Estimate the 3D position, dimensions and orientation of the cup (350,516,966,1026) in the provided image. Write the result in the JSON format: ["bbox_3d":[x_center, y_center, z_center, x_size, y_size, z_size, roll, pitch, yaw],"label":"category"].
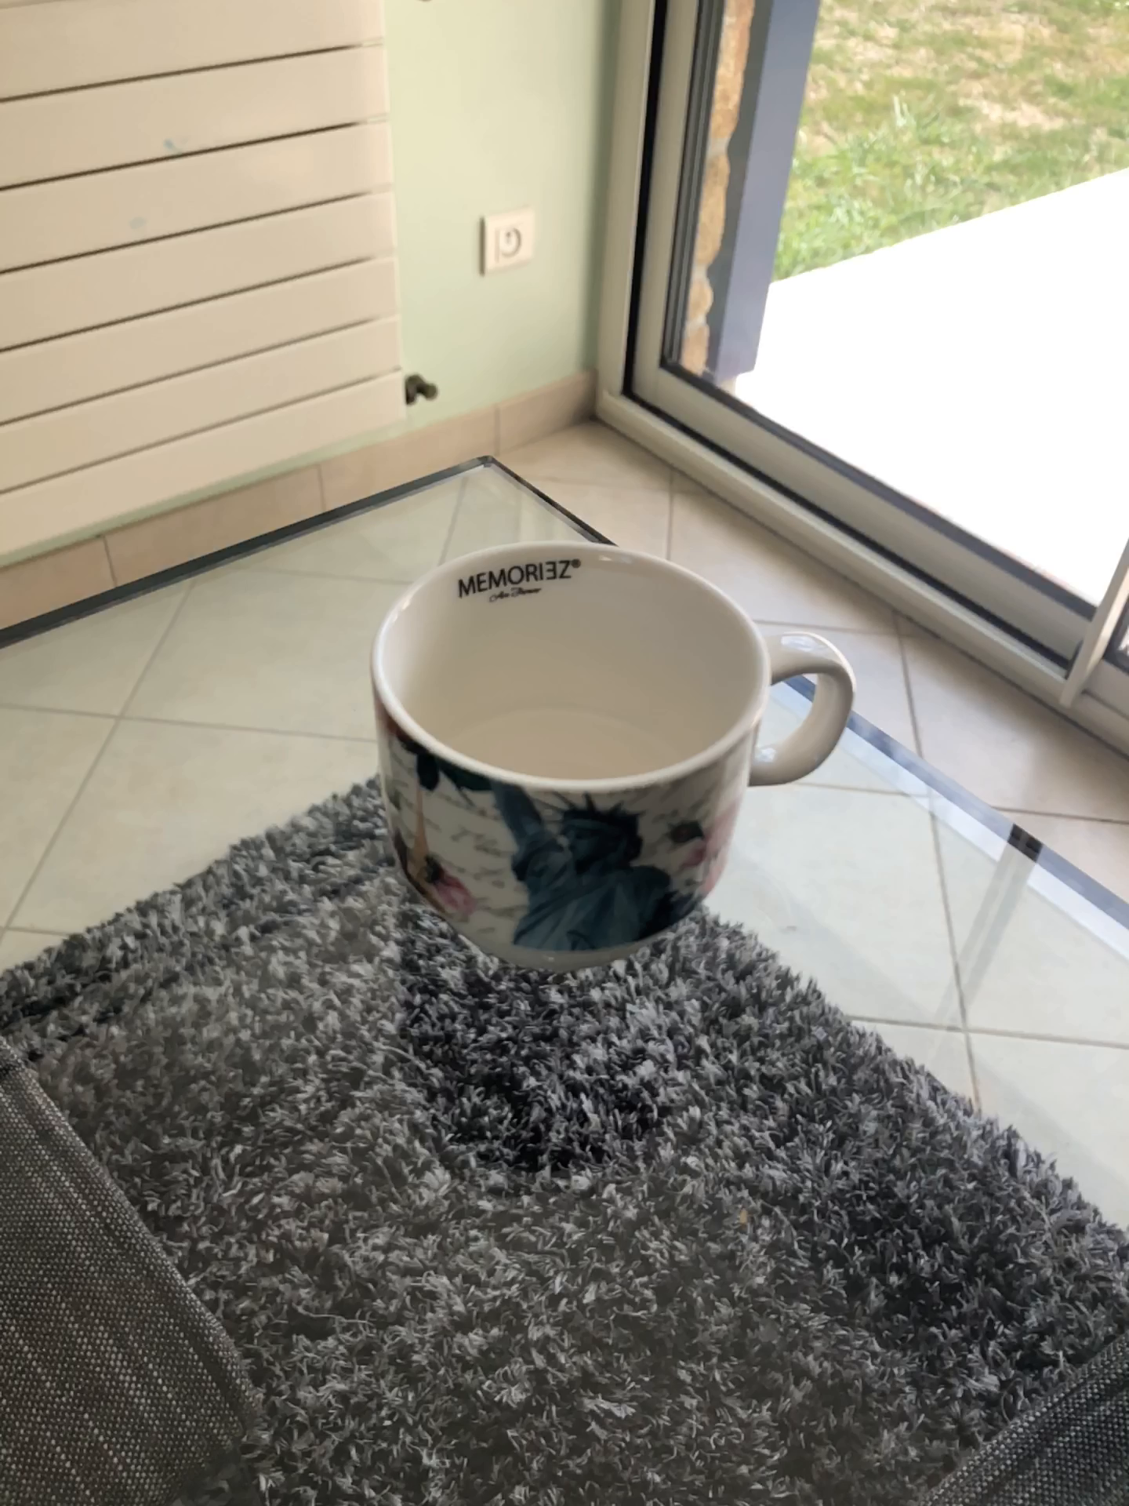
[{"bbox_3d":[0.010,0.000,0.228,0.090,0.050,0.070,-6,44,-10],"label":"cup"}]
